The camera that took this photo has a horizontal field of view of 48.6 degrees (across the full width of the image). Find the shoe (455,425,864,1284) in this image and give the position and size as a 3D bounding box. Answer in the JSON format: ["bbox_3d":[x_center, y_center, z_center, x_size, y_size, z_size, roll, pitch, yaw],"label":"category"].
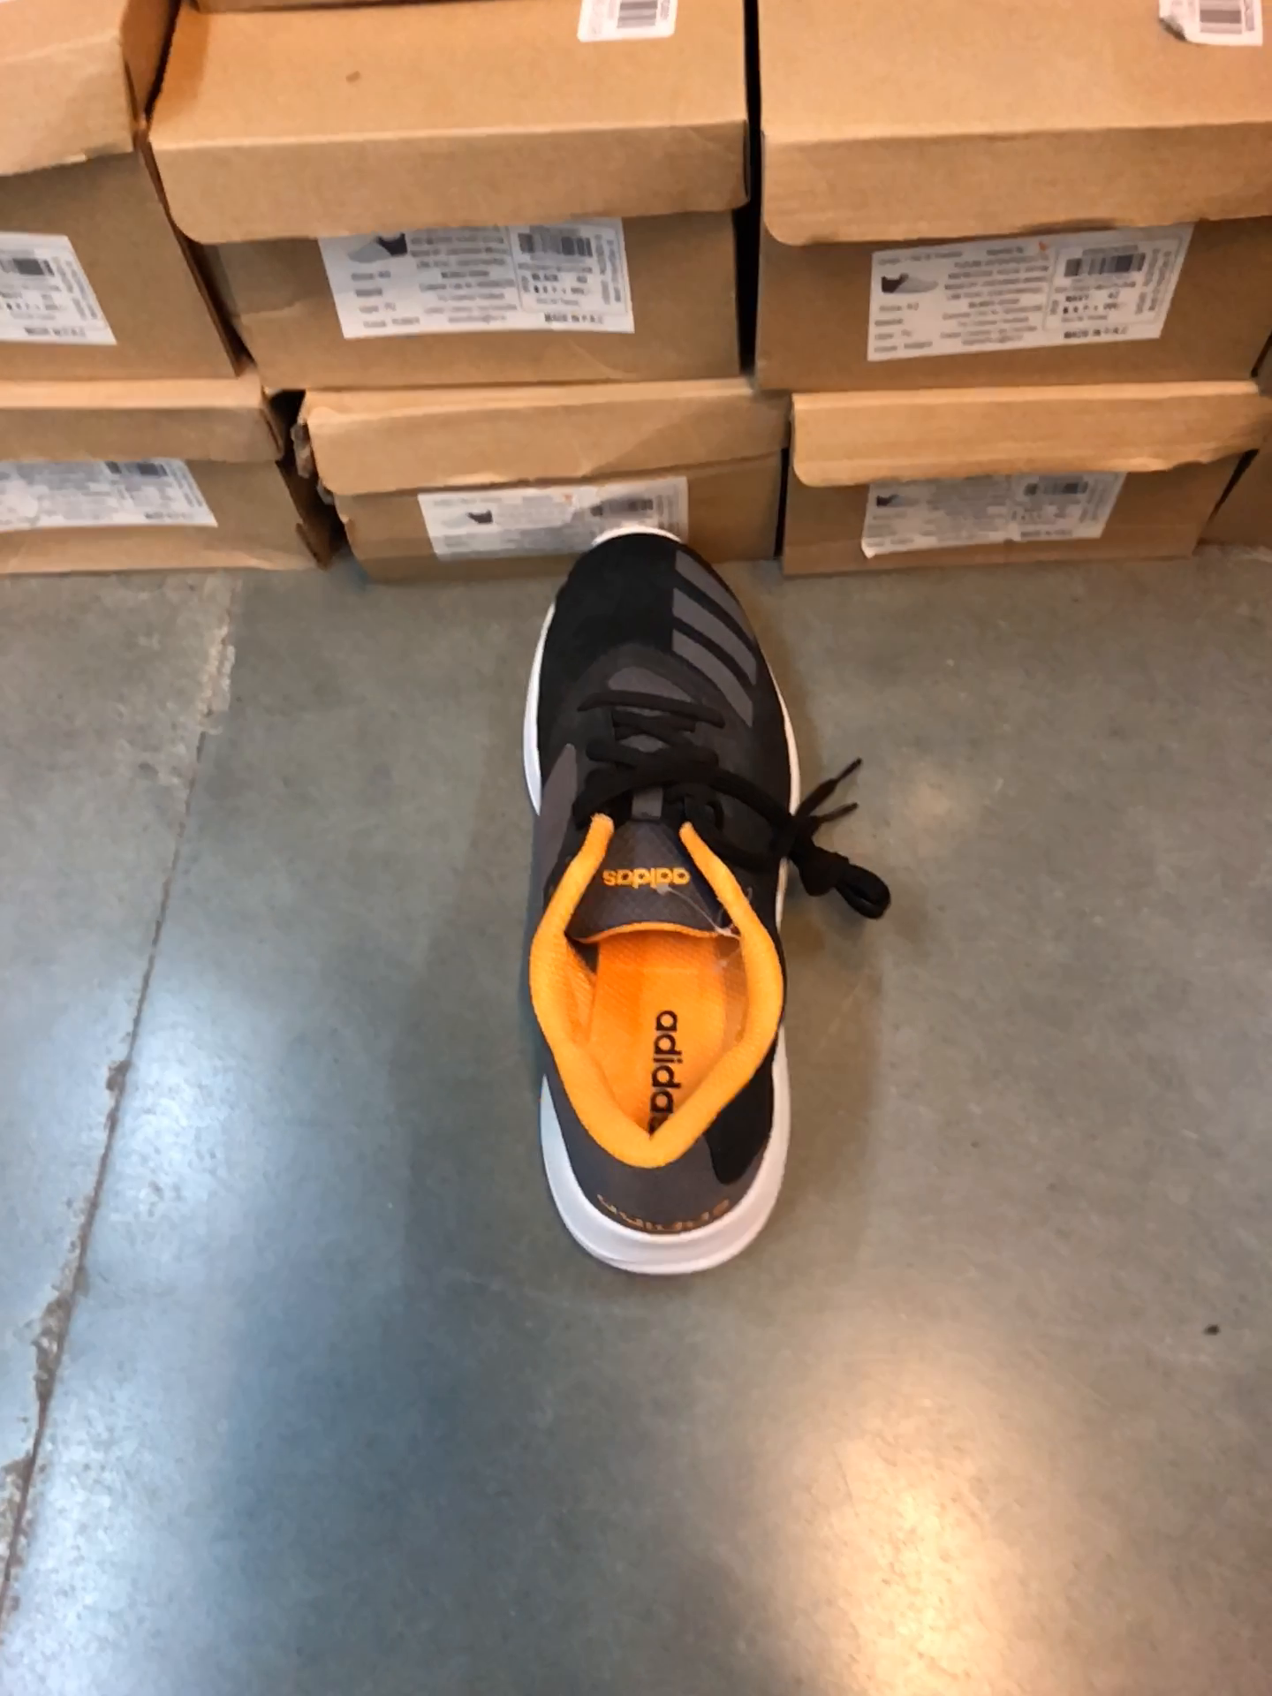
[{"bbox_3d":[0.008,0.002,0.486,0.110,0.117,0.271,-1,66,2],"label":"shoe"}]
